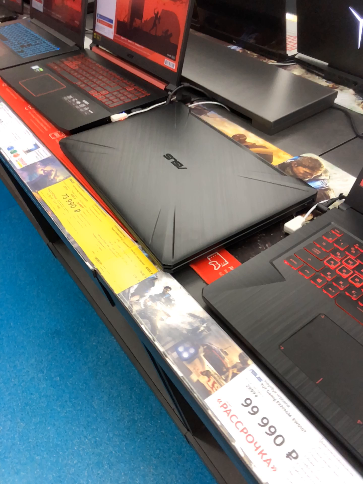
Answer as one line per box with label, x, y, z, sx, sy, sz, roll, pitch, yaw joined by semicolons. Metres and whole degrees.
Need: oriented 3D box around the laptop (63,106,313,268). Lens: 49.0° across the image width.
laptop;-0.012;-0.128;0.677;0.261;0.001;0.387;-24;47;-22
